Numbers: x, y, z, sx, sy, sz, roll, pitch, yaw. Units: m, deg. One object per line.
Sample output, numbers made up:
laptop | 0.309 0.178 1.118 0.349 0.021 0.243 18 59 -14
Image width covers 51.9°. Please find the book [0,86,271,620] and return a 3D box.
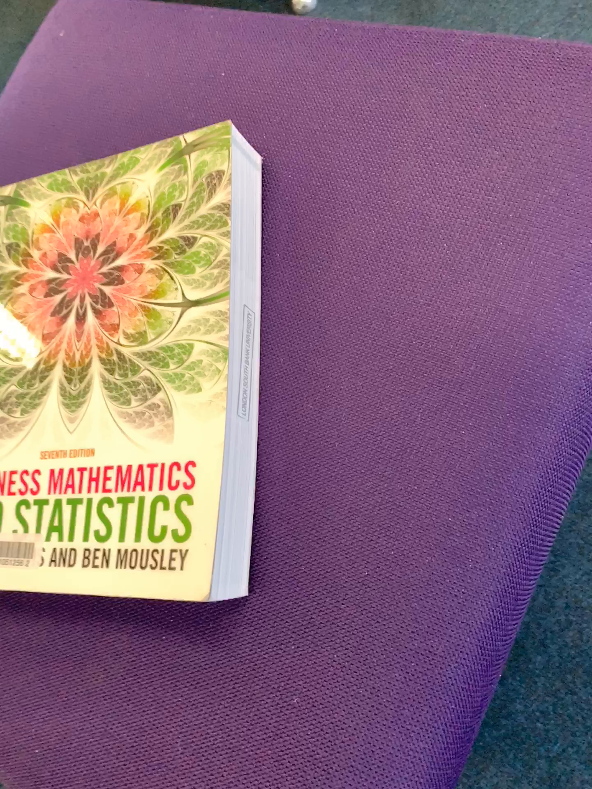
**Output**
book | -0.119 -0.020 0.342 0.201 0.050 0.261 -5 74 22
